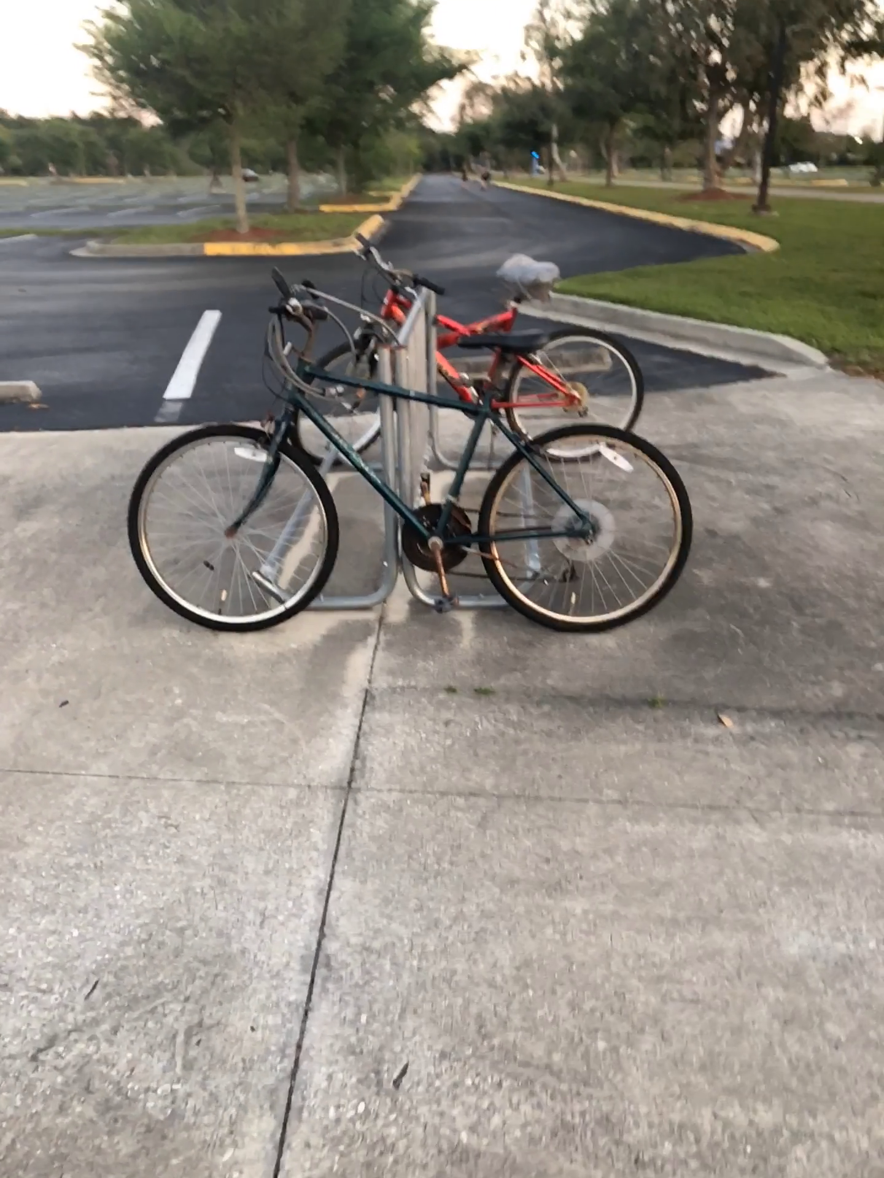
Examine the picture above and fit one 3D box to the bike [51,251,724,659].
[{"bbox_3d":[-0.113,-0.419,2.979,1.750,1.104,0.587,0,23,2],"label":"bike"}]
